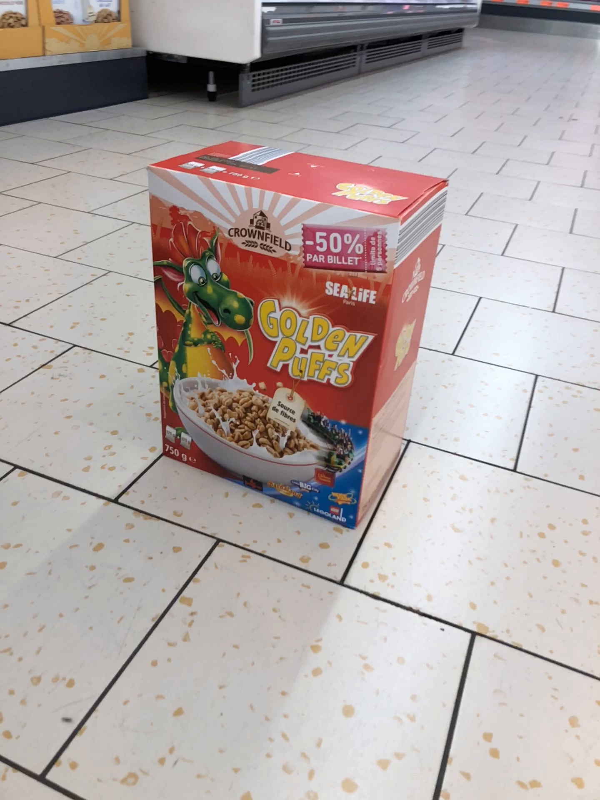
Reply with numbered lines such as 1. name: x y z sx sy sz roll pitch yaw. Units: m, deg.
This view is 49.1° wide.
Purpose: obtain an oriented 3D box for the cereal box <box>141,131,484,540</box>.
1. cereal box: 0.006 -0.060 0.525 0.200 0.248 0.141 18 34 21
